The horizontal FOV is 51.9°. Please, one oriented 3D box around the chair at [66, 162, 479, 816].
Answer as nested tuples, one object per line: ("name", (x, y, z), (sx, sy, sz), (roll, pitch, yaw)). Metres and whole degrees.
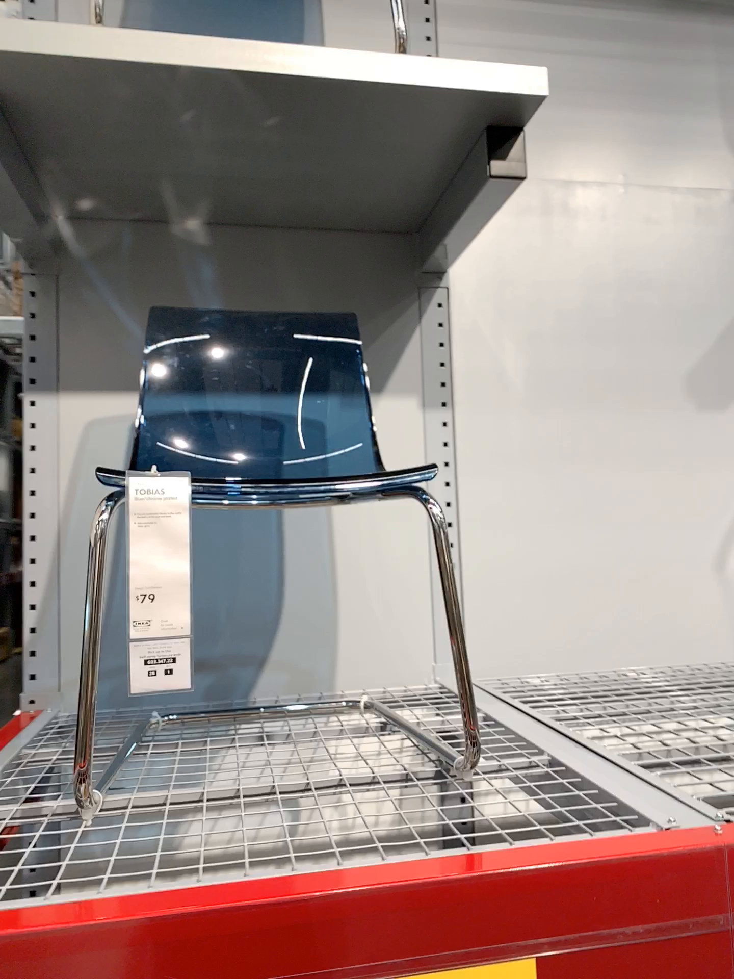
("chair", (-0.171, -0.002, 1.282), (0.530, 0.841, 0.549), (-1, -5, -10))
